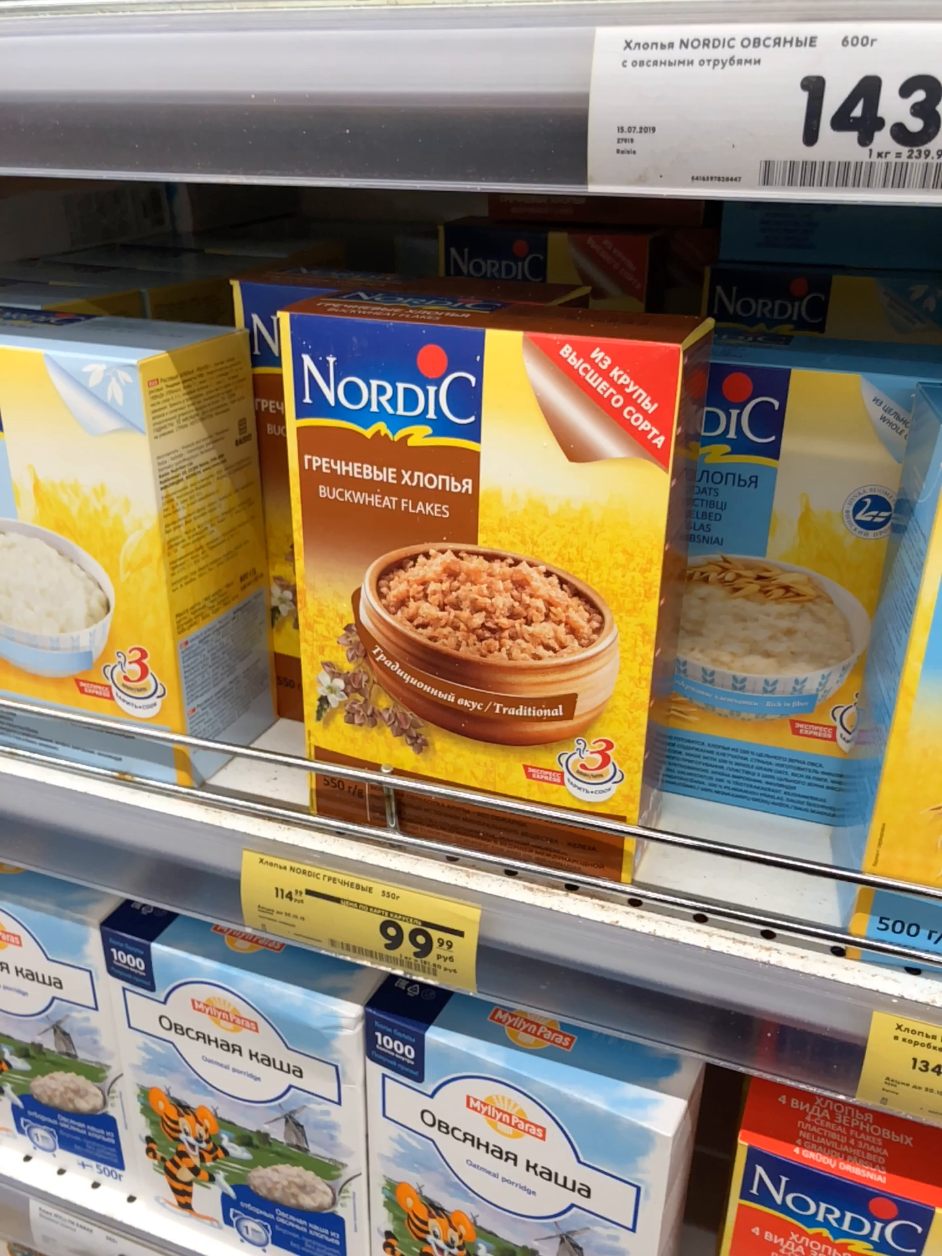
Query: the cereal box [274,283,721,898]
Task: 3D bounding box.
[{"bbox_3d":[0.010,-0.017,0.407,0.140,0.209,0.070,10,26,19],"label":"cereal box"}]
